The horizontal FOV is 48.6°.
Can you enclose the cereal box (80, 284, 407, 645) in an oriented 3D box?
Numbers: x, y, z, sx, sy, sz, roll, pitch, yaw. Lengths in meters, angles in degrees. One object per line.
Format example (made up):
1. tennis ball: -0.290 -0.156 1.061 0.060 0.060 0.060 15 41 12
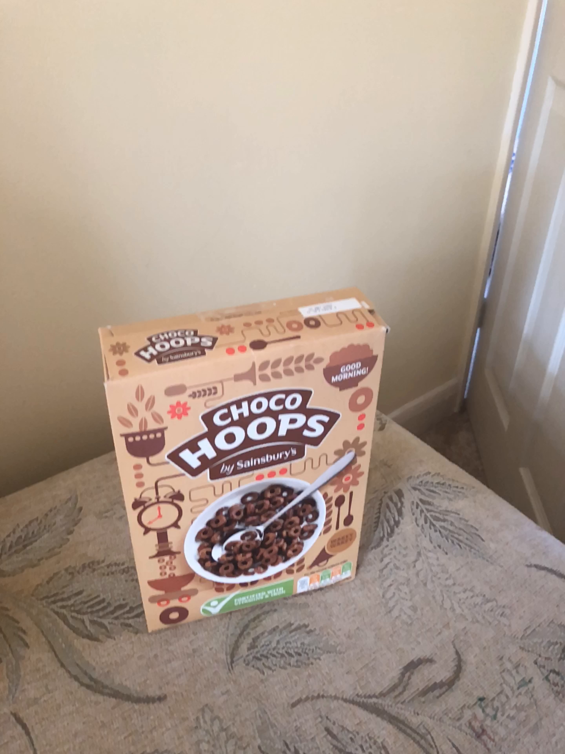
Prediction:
1. cereal box: -0.029 0.074 0.502 0.210 0.258 0.081 -10 36 -16
